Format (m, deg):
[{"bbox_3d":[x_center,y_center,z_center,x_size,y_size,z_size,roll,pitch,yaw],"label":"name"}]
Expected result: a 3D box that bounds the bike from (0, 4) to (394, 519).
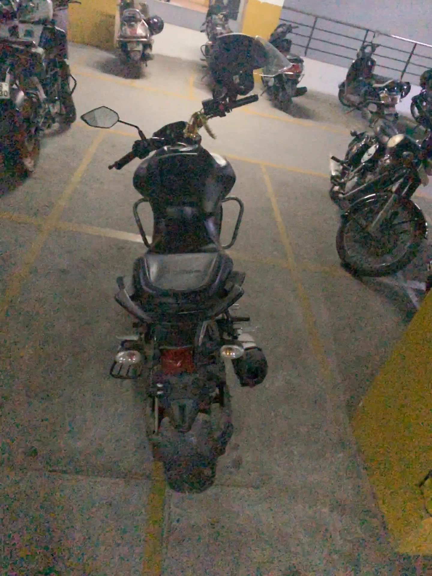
[{"bbox_3d":[-0.279,-0.253,1.805,0.786,1.097,1.743,4,39,-16],"label":"bike"}]
